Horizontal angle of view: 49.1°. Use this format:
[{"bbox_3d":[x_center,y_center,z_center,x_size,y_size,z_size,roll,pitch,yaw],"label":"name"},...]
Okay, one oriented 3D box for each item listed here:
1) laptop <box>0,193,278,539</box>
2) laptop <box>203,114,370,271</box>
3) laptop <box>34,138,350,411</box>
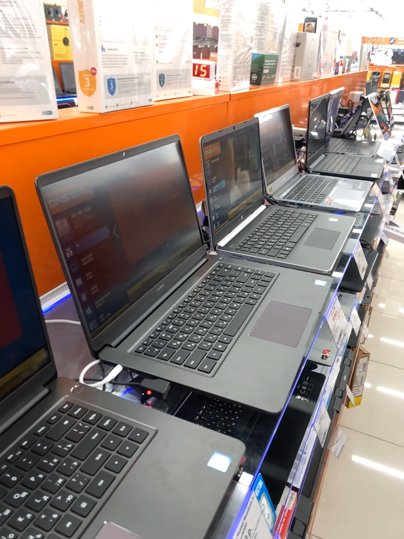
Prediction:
[{"bbox_3d":[-0.140,0.114,0.275,0.241,0.230,0.357,10,27,21],"label":"laptop"},{"bbox_3d":[0.174,-0.176,0.901,0.243,0.195,0.271,14,32,24],"label":"laptop"},{"bbox_3d":[0.018,-0.038,0.613,0.287,0.212,0.340,12,27,20],"label":"laptop"}]
